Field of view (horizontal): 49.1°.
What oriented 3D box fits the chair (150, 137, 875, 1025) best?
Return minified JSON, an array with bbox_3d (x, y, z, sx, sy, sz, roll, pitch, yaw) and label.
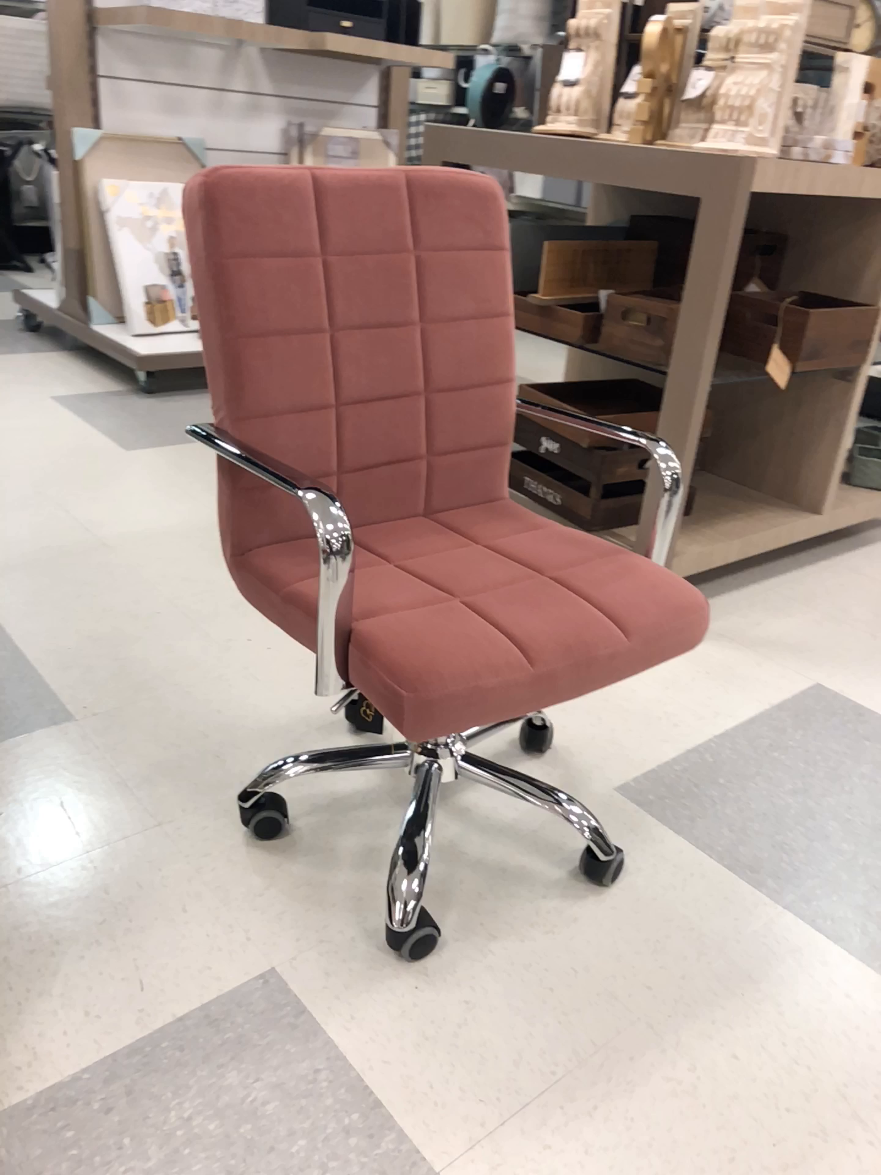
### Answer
[{"bbox_3d":[0.028,-0.073,1.235,0.566,0.842,0.570,-14,31,-35],"label":"chair"}]
